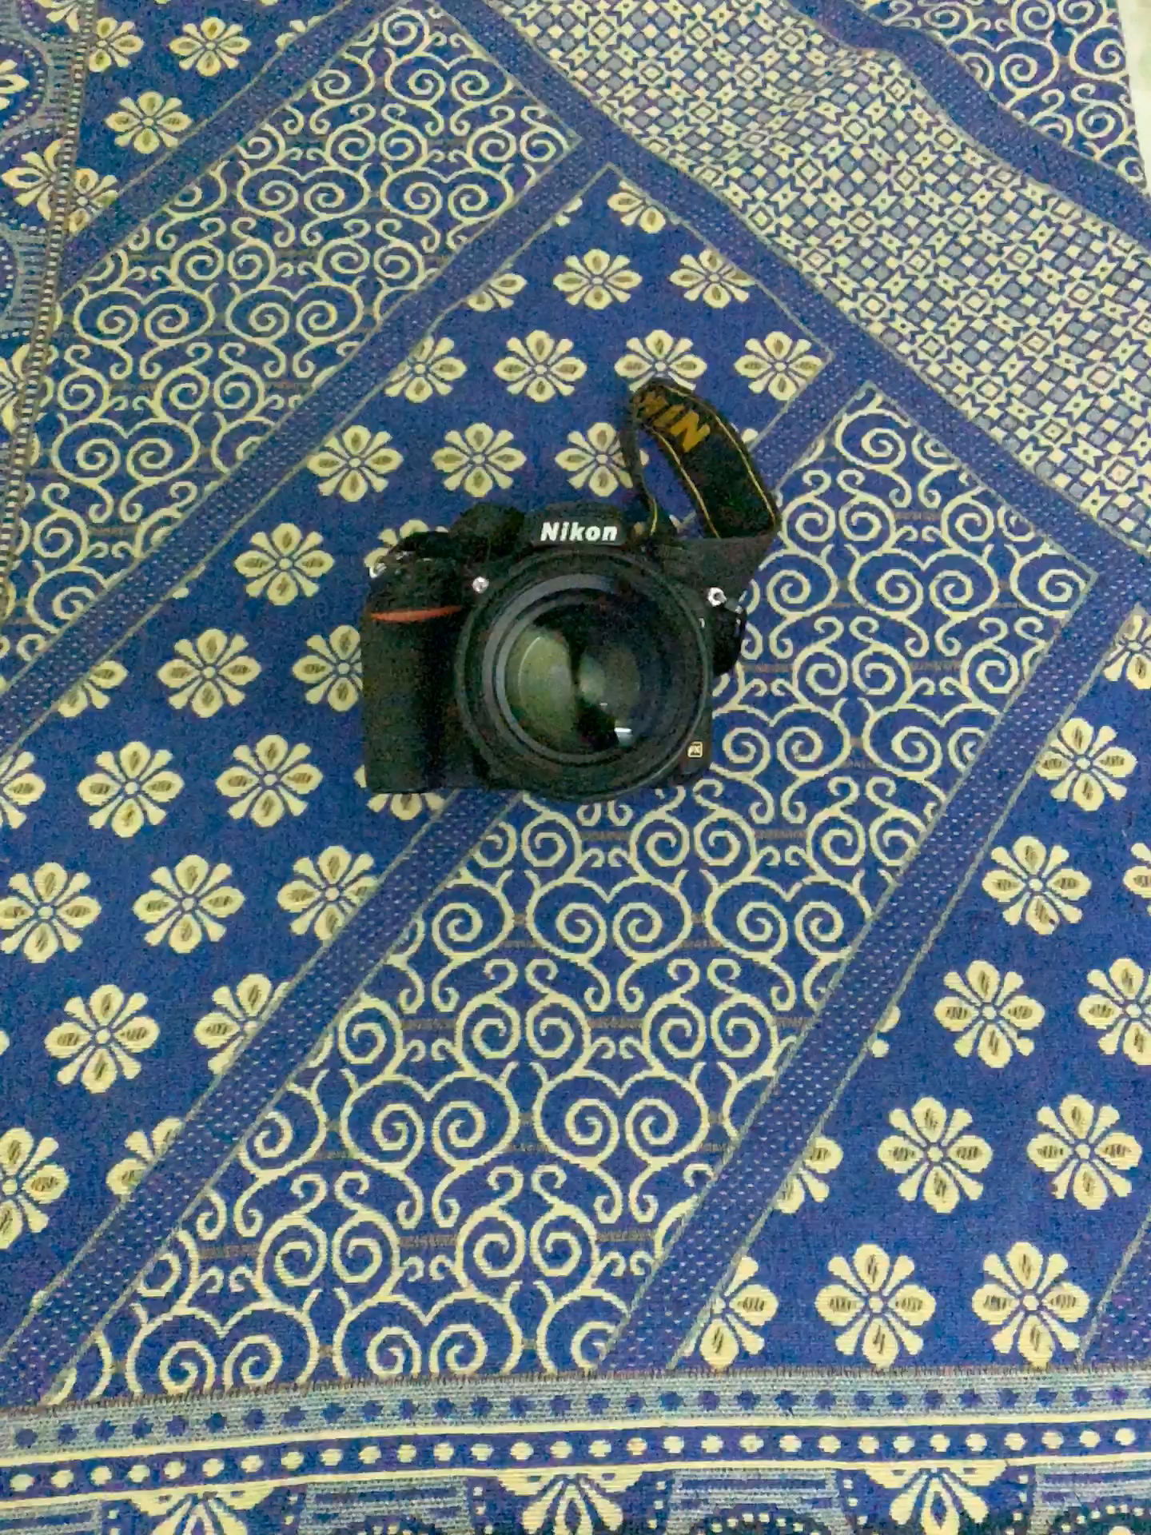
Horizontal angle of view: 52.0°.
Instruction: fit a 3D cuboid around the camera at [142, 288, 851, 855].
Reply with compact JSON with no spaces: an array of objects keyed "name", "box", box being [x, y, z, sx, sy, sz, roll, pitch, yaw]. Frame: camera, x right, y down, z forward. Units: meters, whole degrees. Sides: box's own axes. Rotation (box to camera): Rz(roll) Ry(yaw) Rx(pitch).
[{"name":"camera","box":[-0.019,-0.039,0.367,0.160,0.191,0.130,0,85,-1]}]
